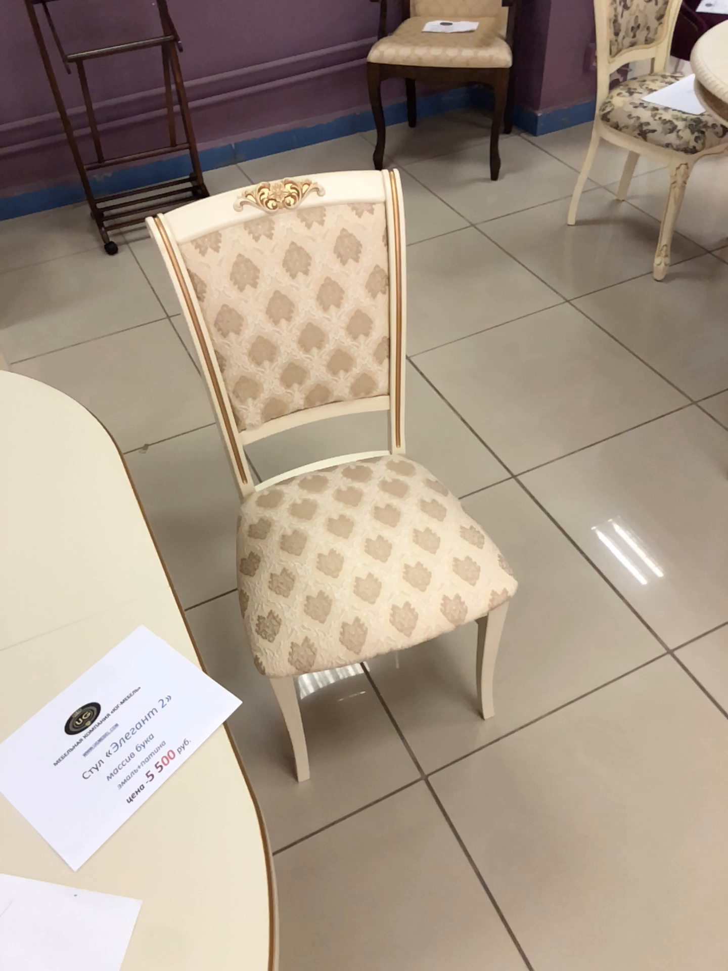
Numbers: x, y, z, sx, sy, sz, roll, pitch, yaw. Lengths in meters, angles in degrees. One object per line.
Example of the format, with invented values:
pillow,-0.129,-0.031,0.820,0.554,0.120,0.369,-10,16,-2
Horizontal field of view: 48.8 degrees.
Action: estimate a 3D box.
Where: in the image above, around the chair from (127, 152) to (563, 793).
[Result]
chair,-0.033,0.030,1.381,0.448,0.945,0.483,-15,46,-10
